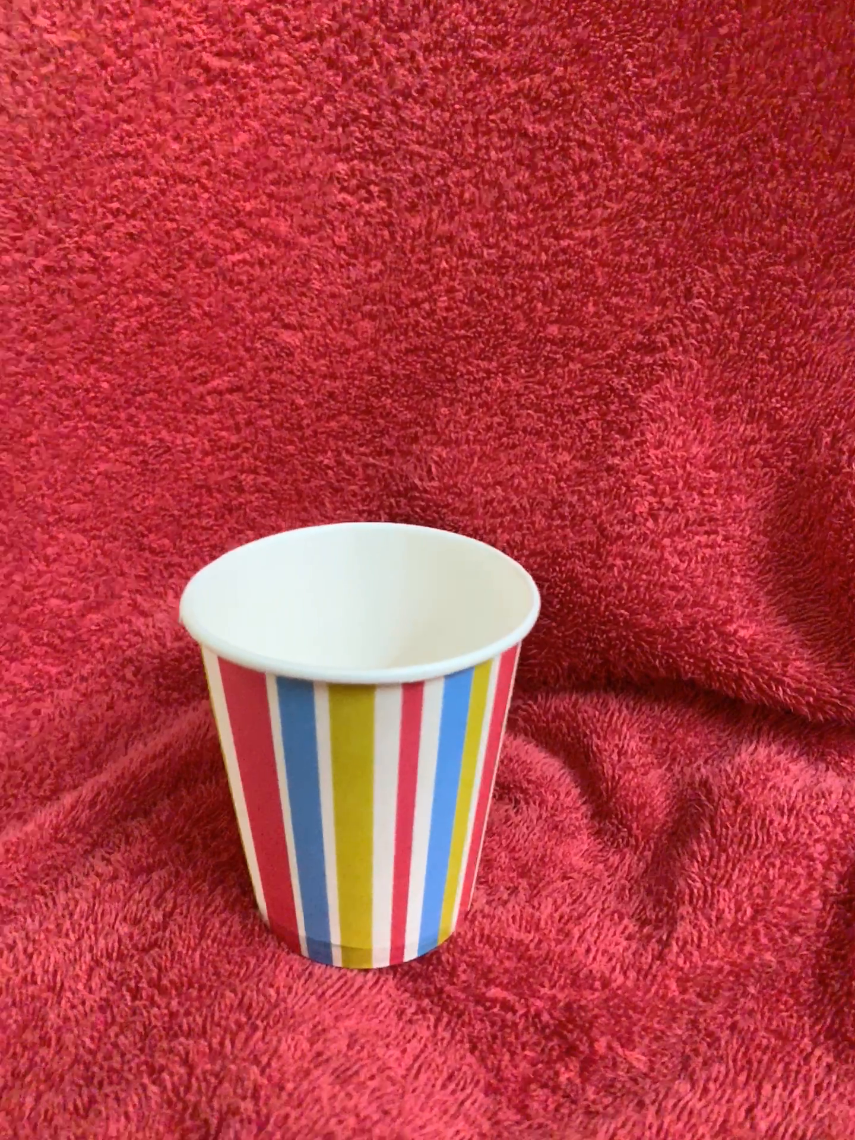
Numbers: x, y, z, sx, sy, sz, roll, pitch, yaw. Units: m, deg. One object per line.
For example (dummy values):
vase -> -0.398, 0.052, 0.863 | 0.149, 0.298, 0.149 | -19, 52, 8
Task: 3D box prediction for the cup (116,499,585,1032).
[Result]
cup -> -0.017, 0.032, 0.178 | 0.070, 0.070, 0.070 | 1, 23, 0
